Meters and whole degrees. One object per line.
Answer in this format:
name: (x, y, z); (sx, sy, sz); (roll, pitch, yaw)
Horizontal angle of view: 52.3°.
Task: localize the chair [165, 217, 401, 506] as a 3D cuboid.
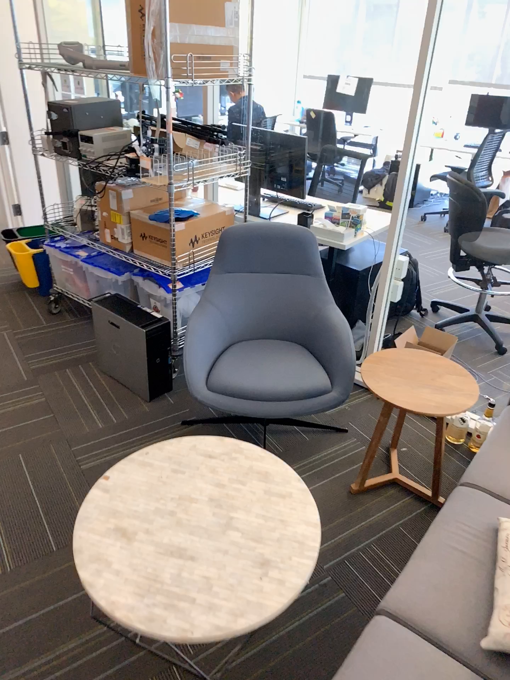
chair: (0.095, 0.049, 2.516); (0.840, 0.964, 1.006); (3, 30, 1)
